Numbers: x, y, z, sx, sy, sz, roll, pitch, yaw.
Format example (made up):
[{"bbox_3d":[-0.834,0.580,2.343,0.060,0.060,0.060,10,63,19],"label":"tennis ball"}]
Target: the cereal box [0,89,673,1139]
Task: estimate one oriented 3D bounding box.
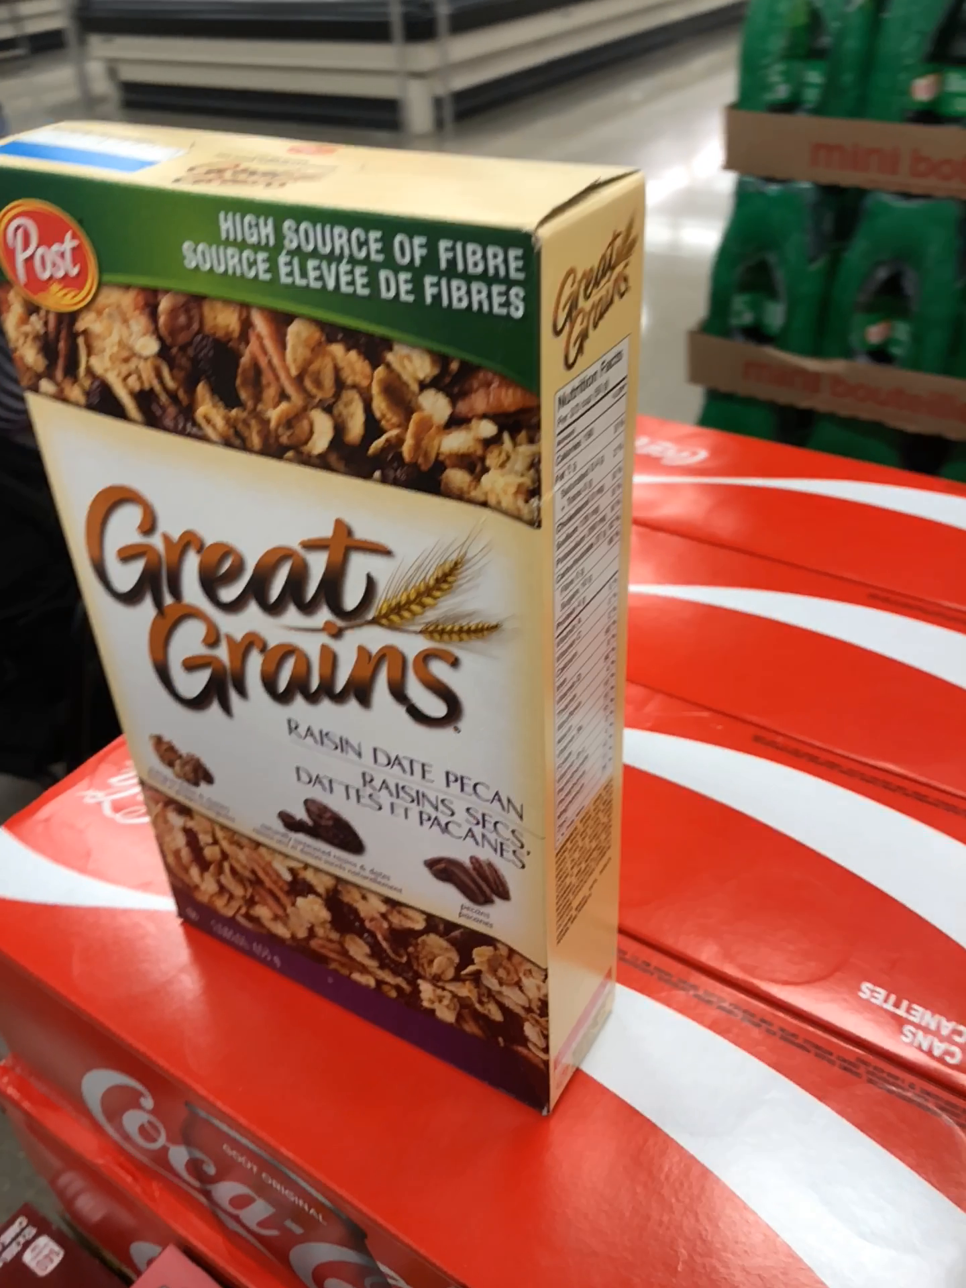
[{"bbox_3d":[-0.042,0.002,0.302,0.170,0.269,0.050,18,41,28],"label":"cereal box"}]
